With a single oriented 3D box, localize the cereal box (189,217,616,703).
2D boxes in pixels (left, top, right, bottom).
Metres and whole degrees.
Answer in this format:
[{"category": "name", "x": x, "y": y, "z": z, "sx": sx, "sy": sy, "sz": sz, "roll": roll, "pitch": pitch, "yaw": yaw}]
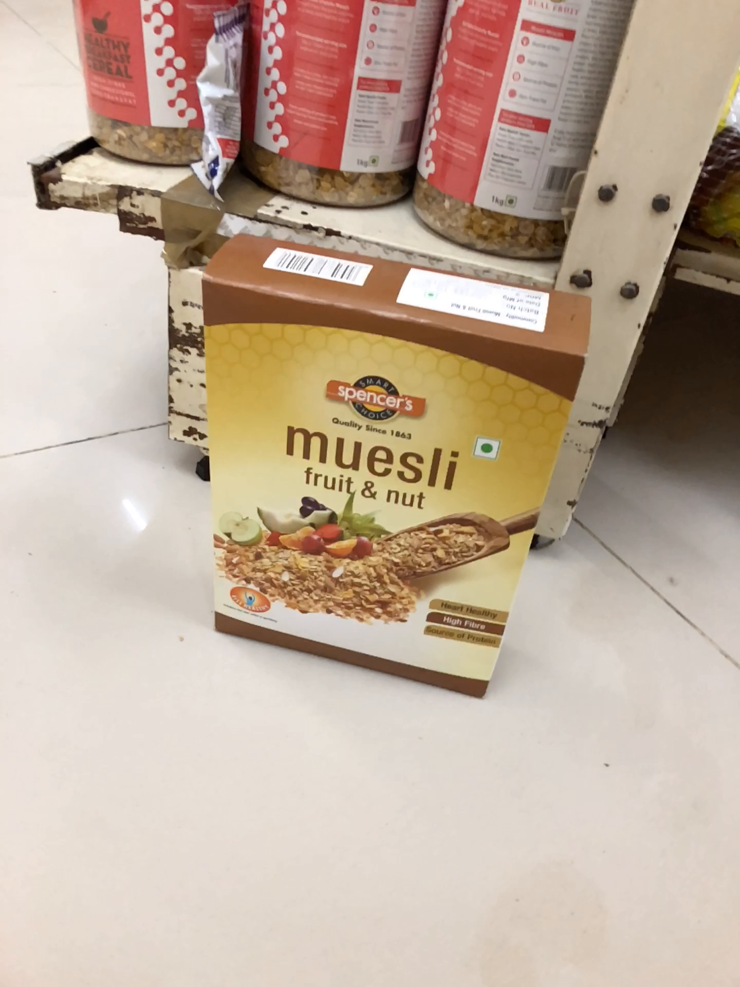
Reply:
[{"category": "cereal box", "x": 0.006, "y": -0.007, "z": 0.449, "sx": 0.190, "sy": 0.238, "sz": 0.060, "roll": 13, "pitch": 38, "yaw": 7}]
